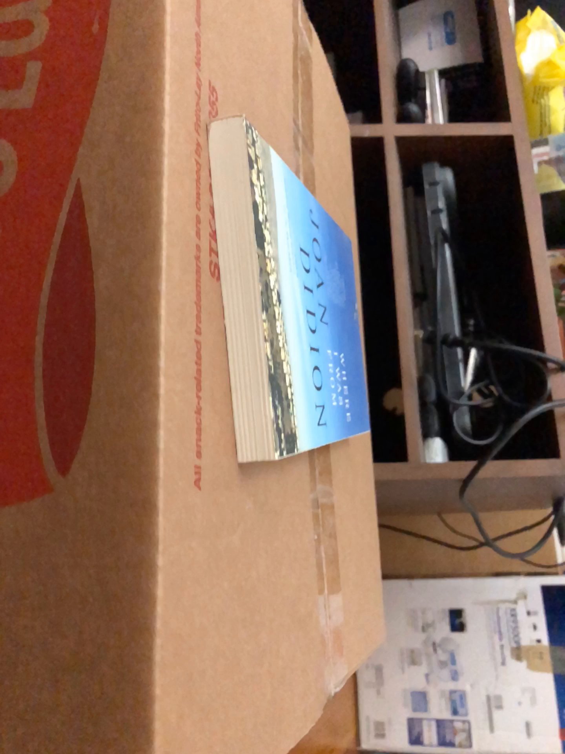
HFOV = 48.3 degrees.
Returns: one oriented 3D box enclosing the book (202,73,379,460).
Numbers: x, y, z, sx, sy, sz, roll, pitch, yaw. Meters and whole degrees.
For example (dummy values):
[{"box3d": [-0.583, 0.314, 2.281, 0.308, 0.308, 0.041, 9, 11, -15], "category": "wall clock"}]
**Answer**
[{"box3d": [0.017, -0.038, 0.331, 0.211, 0.020, 0.140, 4, 79, -73], "category": "book"}]
